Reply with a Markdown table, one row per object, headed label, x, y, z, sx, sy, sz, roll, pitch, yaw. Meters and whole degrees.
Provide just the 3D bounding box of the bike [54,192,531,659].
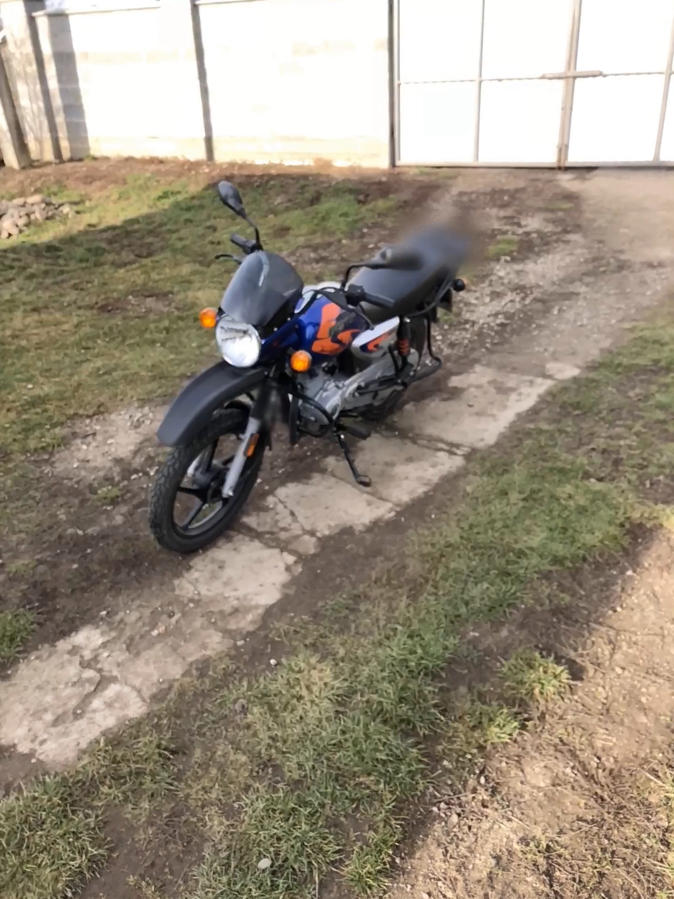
| label | x | y | z | sx | sy | sz | roll | pitch | yaw |
| --- | --- | --- | --- | --- | --- | --- | --- | --- | --- |
| bike | -0.017 | -0.278 | 2.986 | 0.808 | 1.050 | 1.788 | 17 | 35 | 32 |
